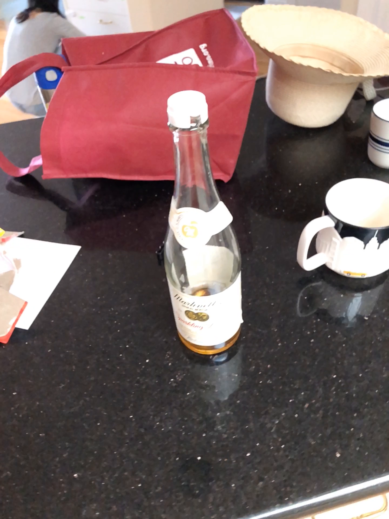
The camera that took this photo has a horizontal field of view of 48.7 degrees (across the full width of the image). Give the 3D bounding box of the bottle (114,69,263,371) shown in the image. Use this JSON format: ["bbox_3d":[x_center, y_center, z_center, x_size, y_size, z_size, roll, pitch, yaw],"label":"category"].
[{"bbox_3d":[0.011,-0.016,0.465,0.093,0.330,0.101,-3,47,3],"label":"bottle"}]
